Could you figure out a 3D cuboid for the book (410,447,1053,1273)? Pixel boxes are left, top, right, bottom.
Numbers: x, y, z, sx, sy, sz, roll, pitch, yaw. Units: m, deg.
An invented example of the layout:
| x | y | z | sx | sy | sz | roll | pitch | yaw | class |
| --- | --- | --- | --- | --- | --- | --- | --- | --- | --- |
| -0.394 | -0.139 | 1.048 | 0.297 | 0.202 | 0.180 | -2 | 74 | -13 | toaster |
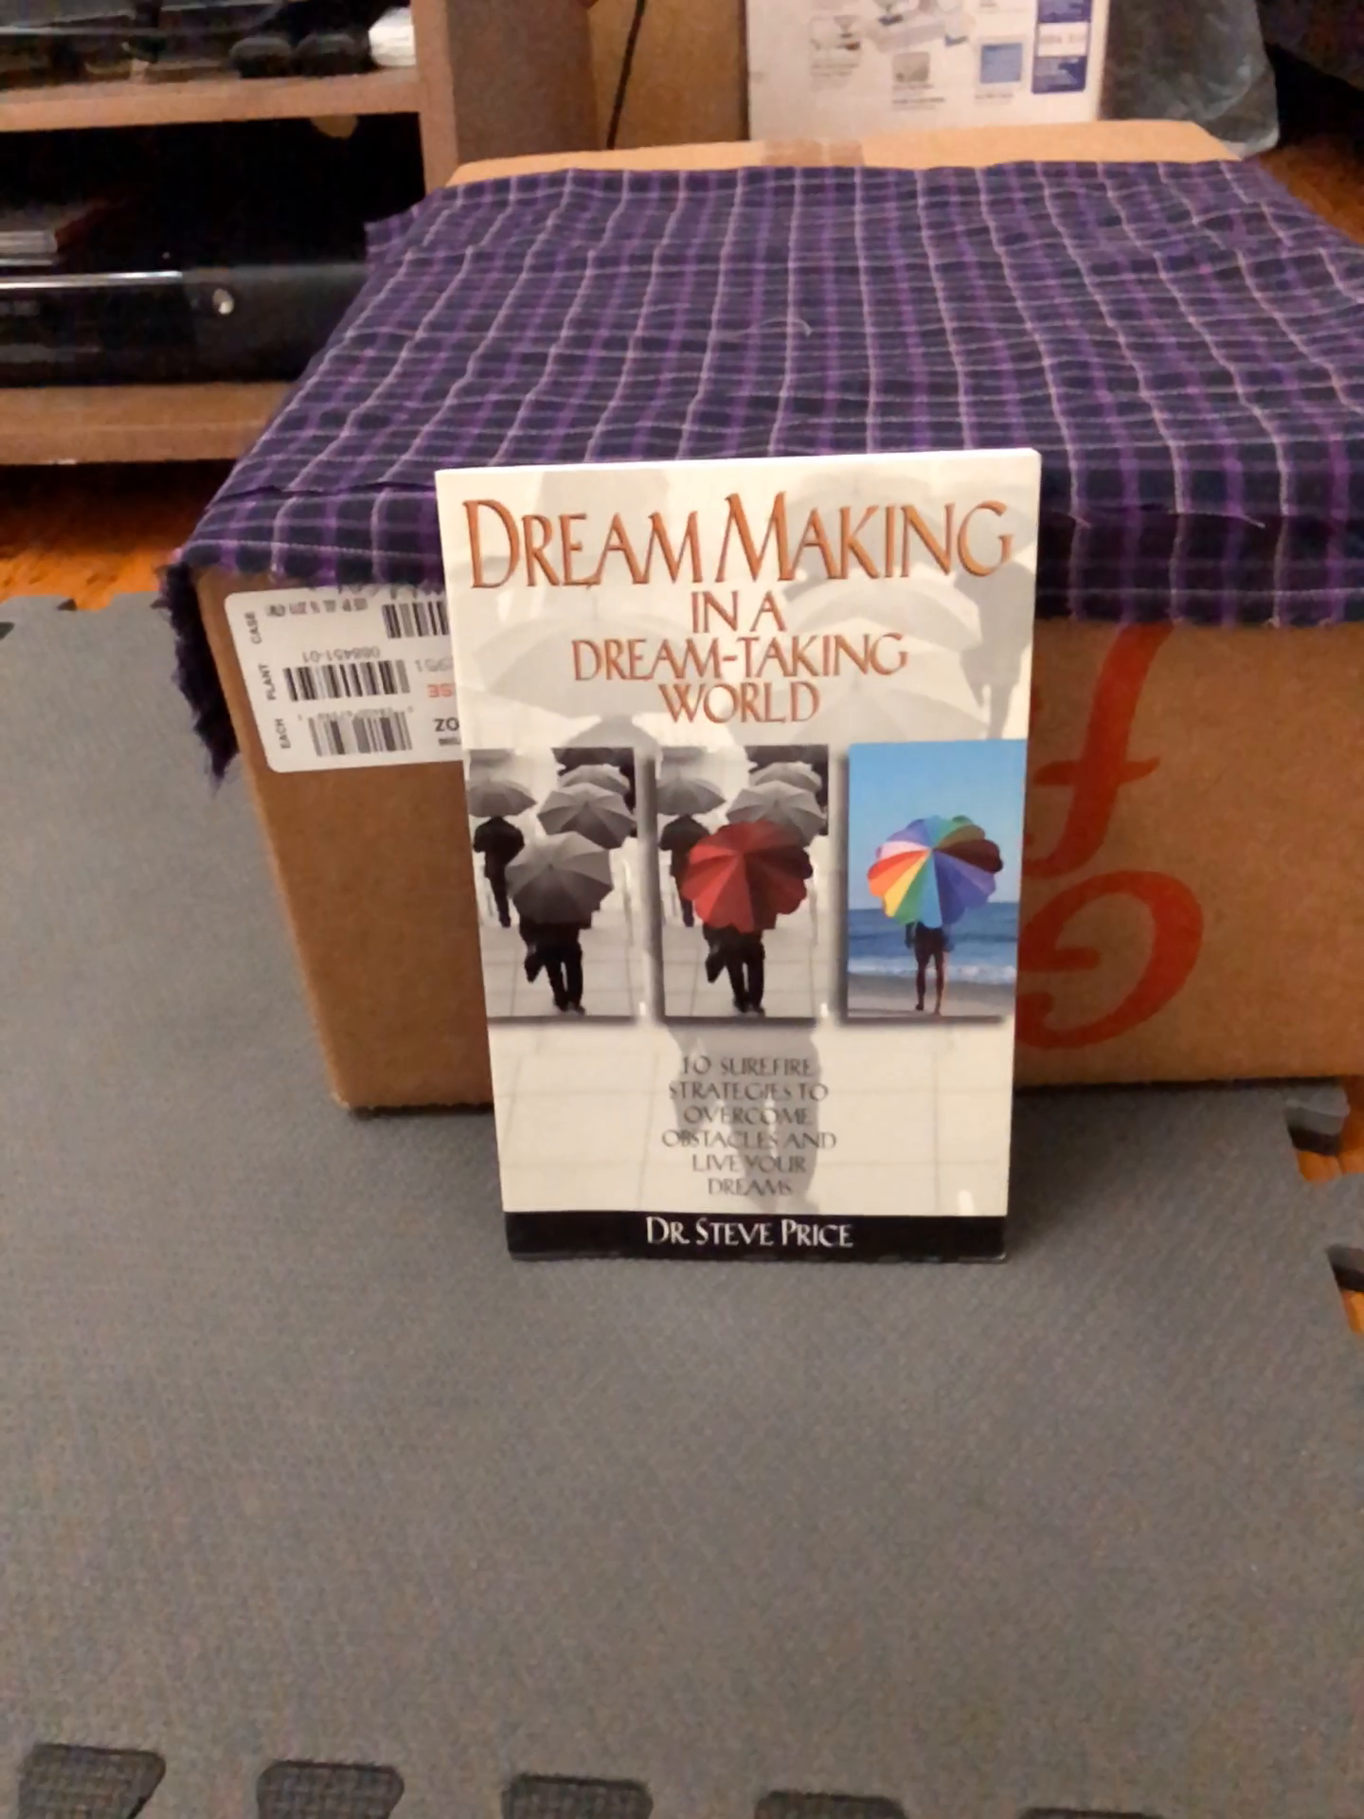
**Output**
| x | y | z | sx | sy | sz | roll | pitch | yaw | class |
| --- | --- | --- | --- | --- | --- | --- | --- | --- | --- |
| 0.017 | -0.004 | 0.399 | 0.150 | 0.219 | 0.020 | -1 | 21 | 7 | book |
